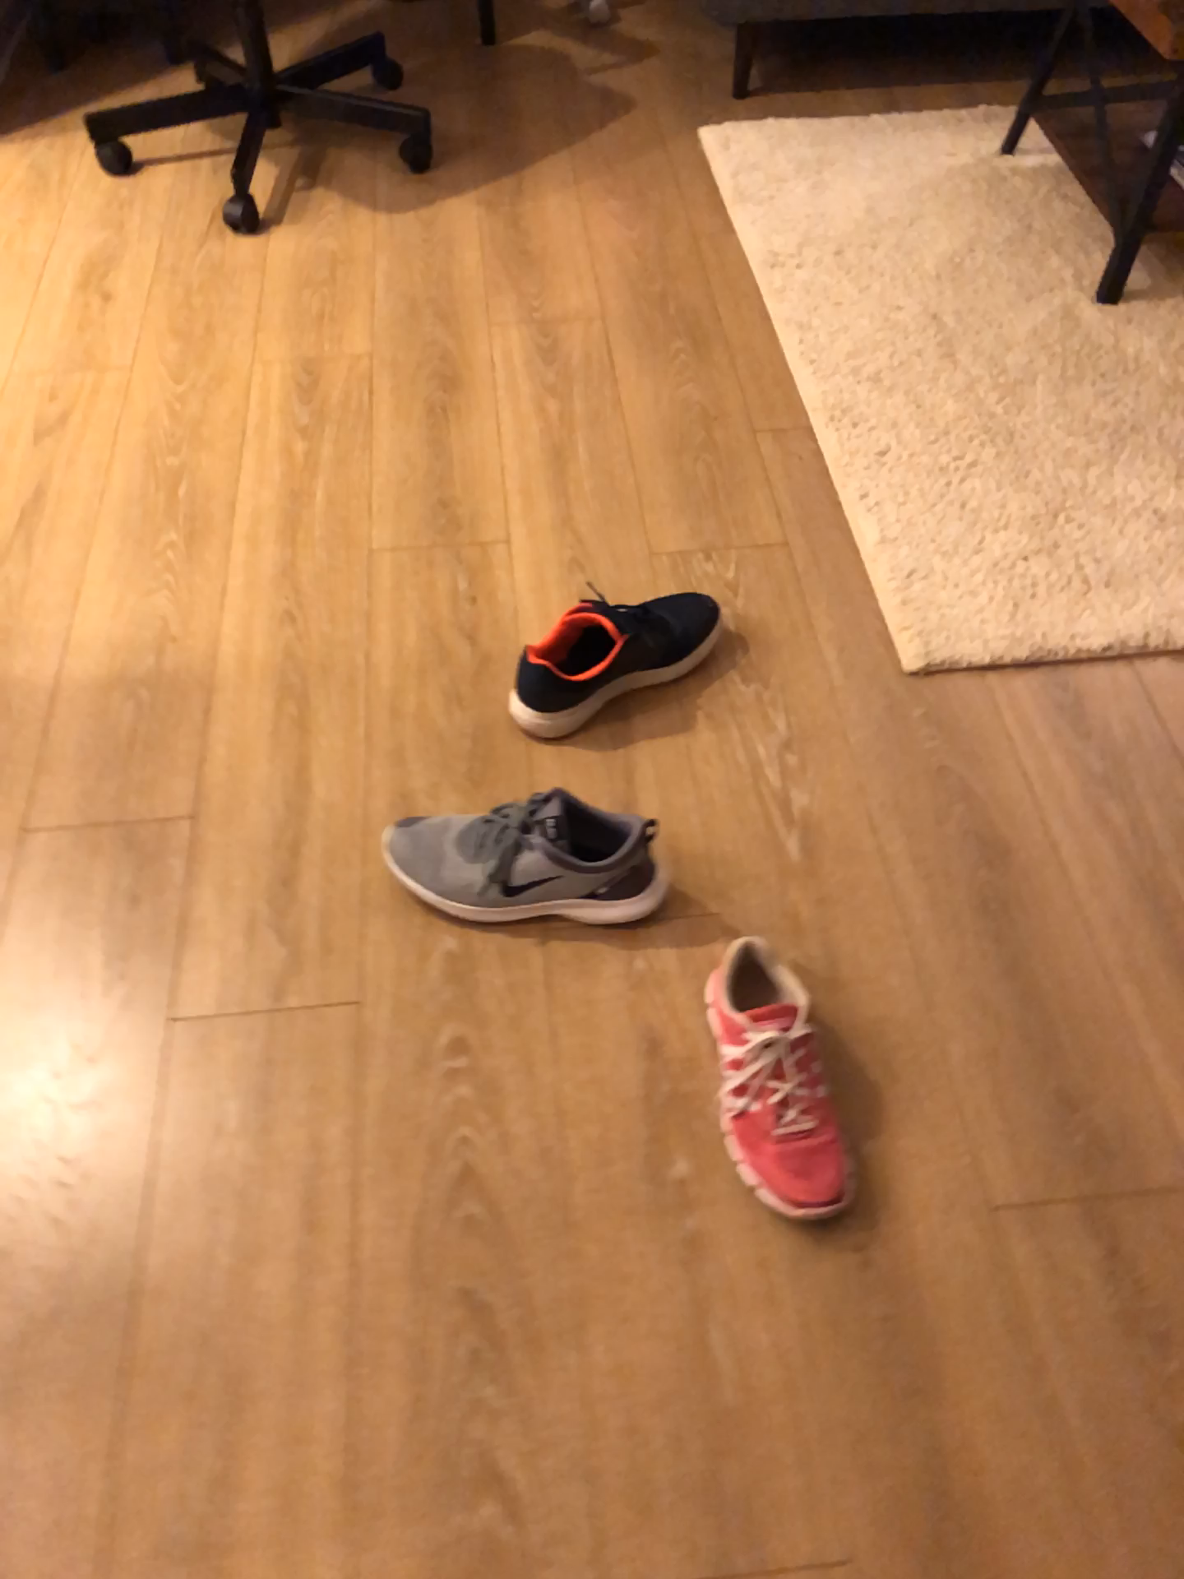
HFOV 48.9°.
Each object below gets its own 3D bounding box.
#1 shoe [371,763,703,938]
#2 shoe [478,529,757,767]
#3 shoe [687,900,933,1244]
[{"bbox_3d":[-0.051,0.062,1.346,0.320,0.080,0.131,5,50,5],"label":"shoe"},{"bbox_3d":[0.034,-0.176,1.562,0.321,0.100,0.130,-33,57,-25],"label":"shoe"},{"bbox_3d":[0.191,0.252,1.202,0.130,0.090,0.281,-10,50,-8],"label":"shoe"}]
